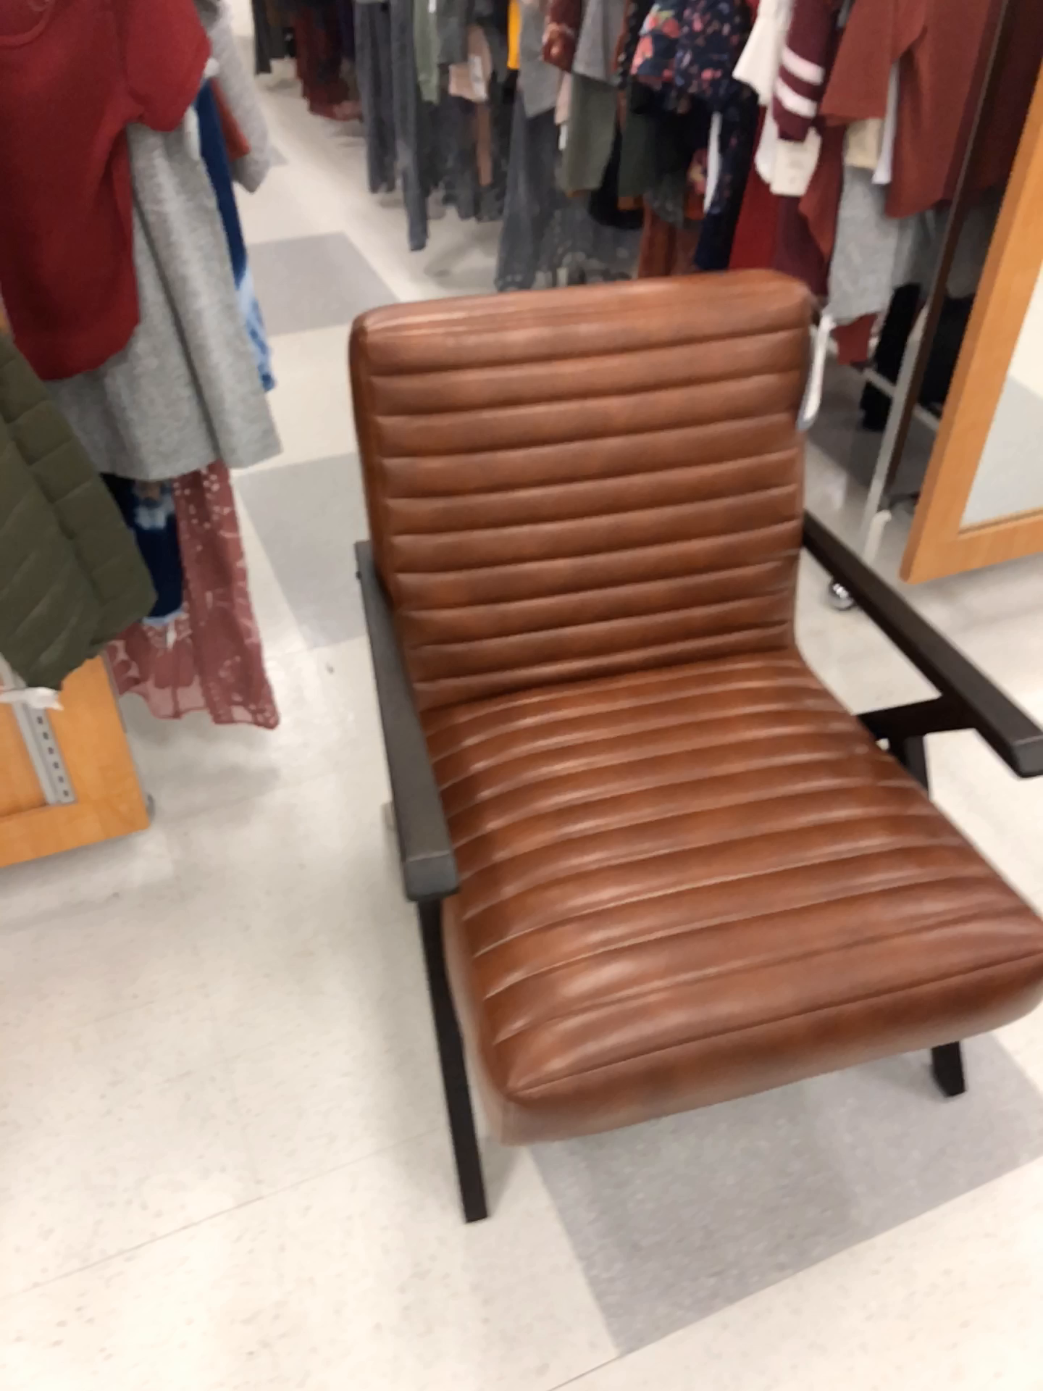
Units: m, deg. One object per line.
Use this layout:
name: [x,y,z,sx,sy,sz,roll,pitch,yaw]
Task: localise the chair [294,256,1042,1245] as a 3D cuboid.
chair: [0.166,0.039,1.304,0.676,0.756,0.680,-10,43,-11]
